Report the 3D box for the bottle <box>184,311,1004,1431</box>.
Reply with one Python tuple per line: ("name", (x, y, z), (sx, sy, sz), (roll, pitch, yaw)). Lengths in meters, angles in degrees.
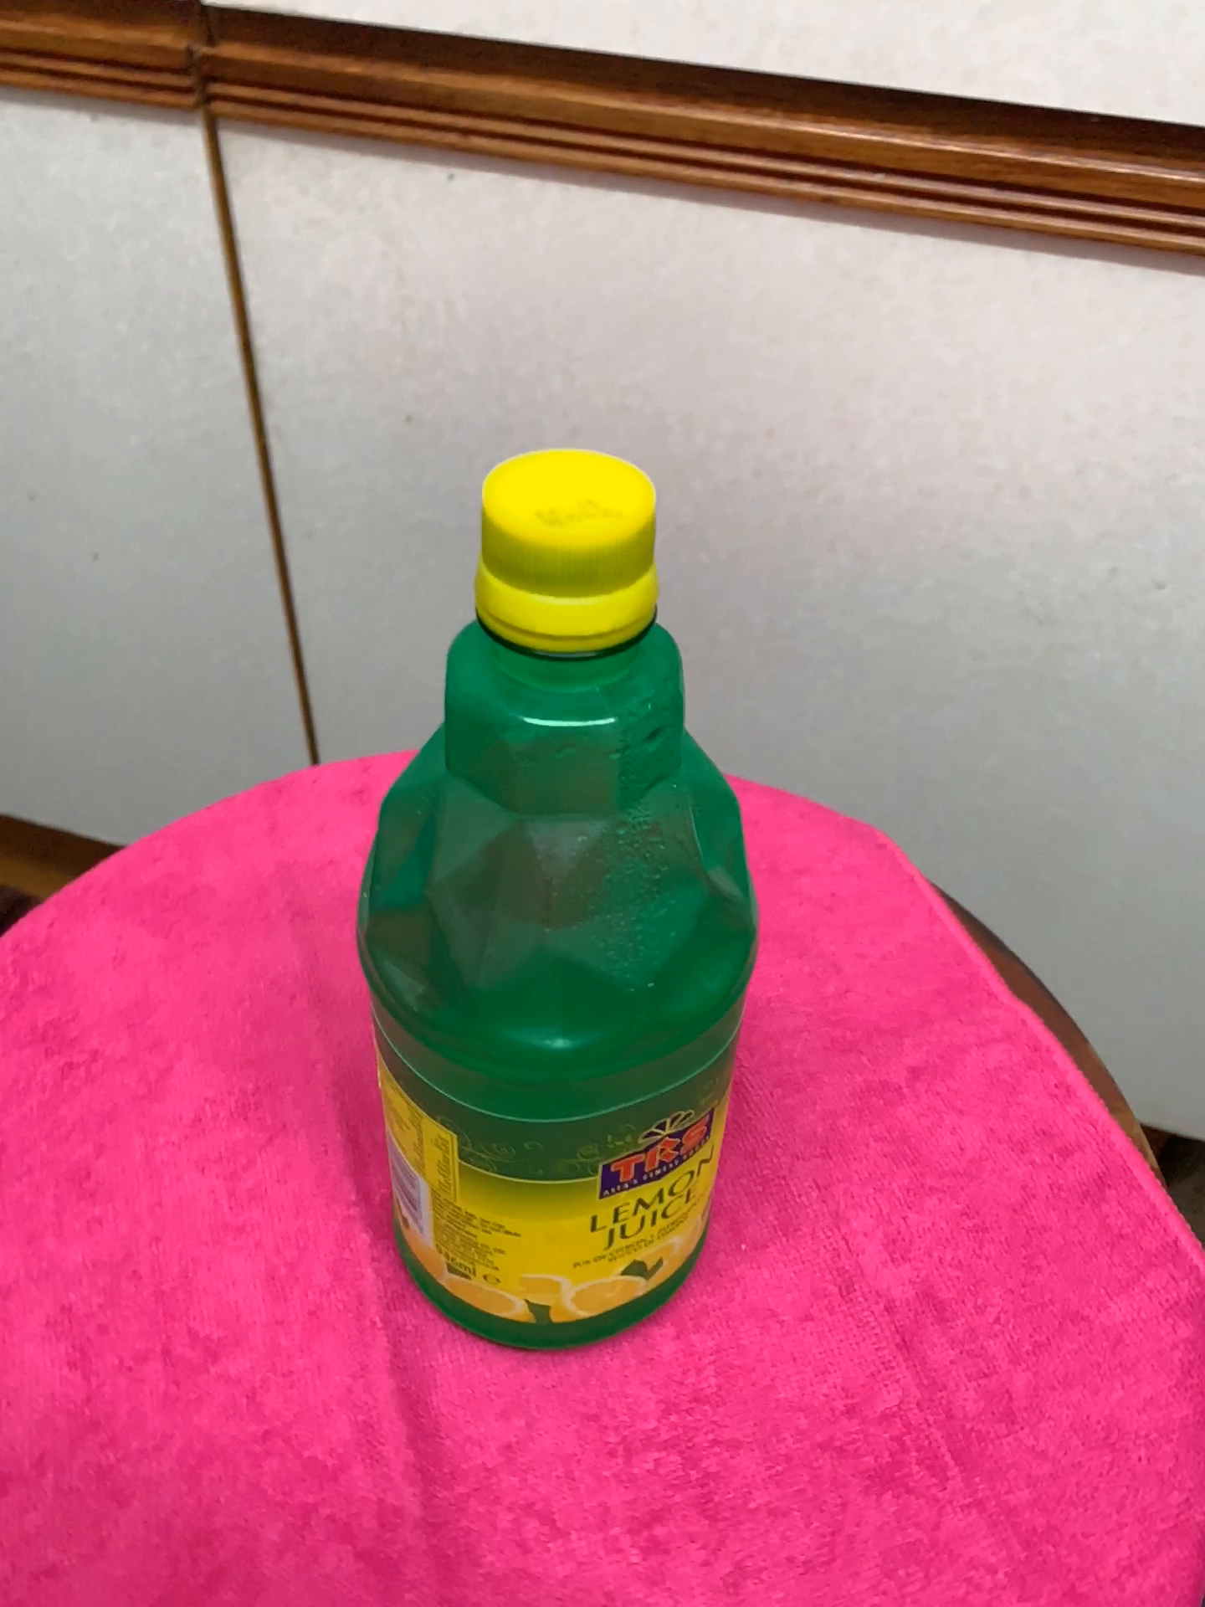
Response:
("bottle", (-0.007, 0.029, 0.281), (0.100, 0.228, 0.091), (-25, 50, -27))
